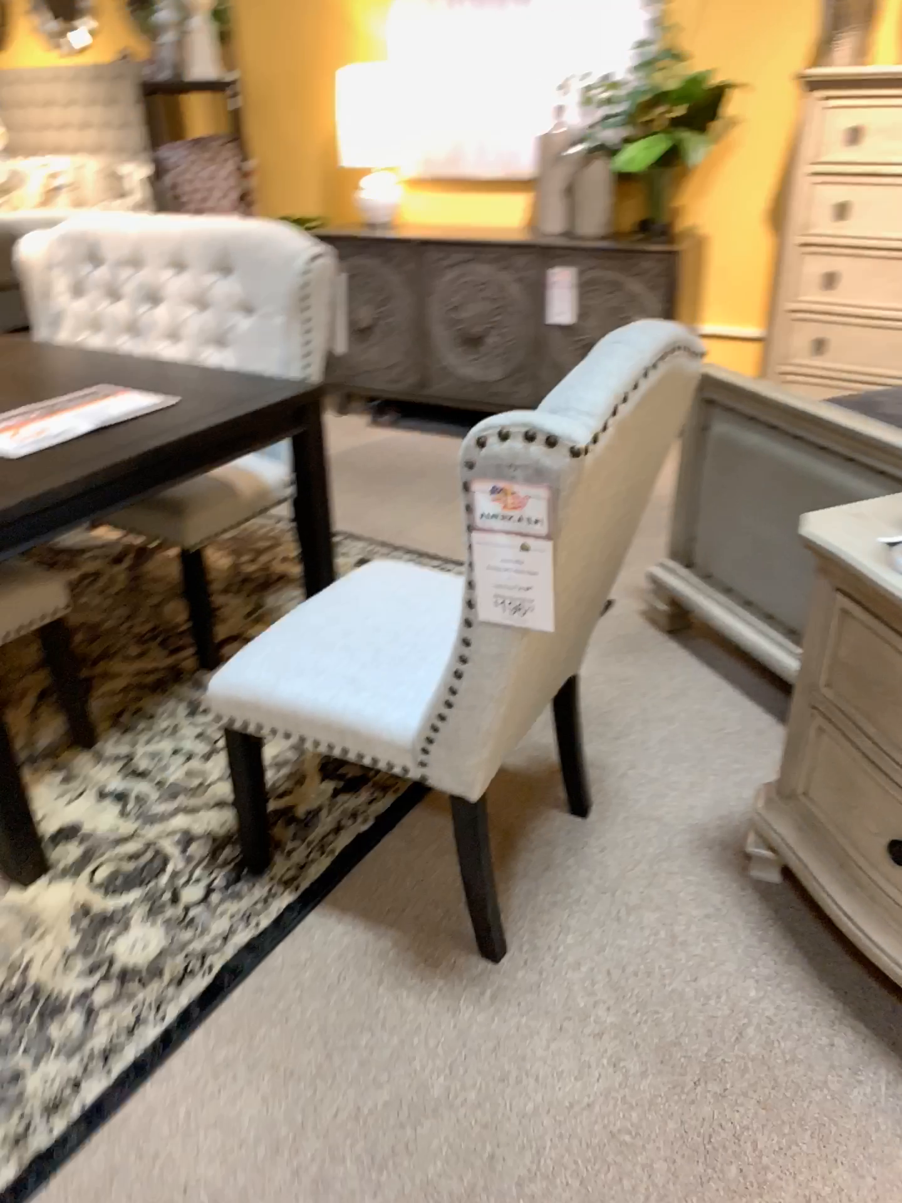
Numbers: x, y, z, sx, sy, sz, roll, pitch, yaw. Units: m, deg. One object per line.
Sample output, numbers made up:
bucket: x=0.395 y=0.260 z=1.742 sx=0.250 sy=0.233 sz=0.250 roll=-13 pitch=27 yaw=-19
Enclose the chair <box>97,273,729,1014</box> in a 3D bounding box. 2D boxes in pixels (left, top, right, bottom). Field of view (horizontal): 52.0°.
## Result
chair: x=-0.024 y=0.007 z=1.601 sx=0.742 sy=0.973 sz=0.589 roll=14 pitch=31 yaw=27
